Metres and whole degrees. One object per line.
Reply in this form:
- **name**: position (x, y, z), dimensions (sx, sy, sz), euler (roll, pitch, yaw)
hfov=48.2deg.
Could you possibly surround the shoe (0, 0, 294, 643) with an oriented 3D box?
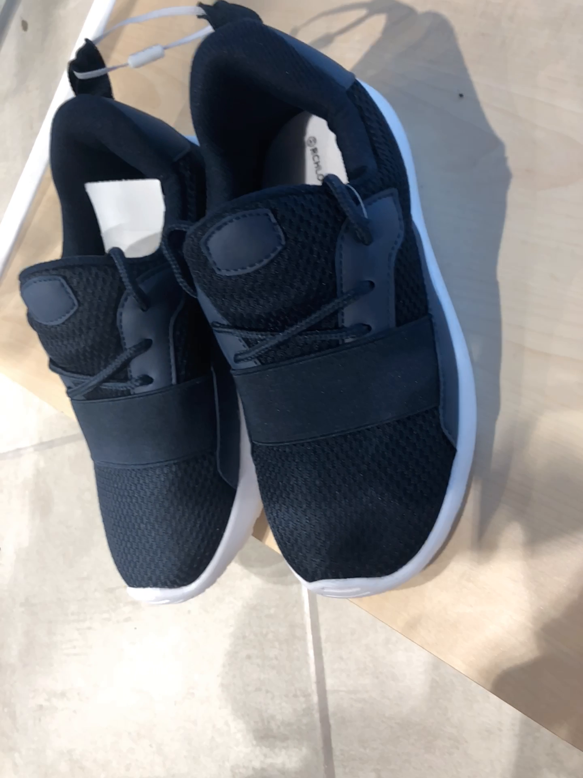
- **shoe**: position (-0.064, -0.027, 0.288), dimensions (0.090, 0.100, 0.240), euler (-6, 77, 29)

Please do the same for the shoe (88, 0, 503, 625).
- **shoe**: position (-0.002, -0.045, 0.248), dimensions (0.100, 0.100, 0.240), euler (-13, 73, 27)
